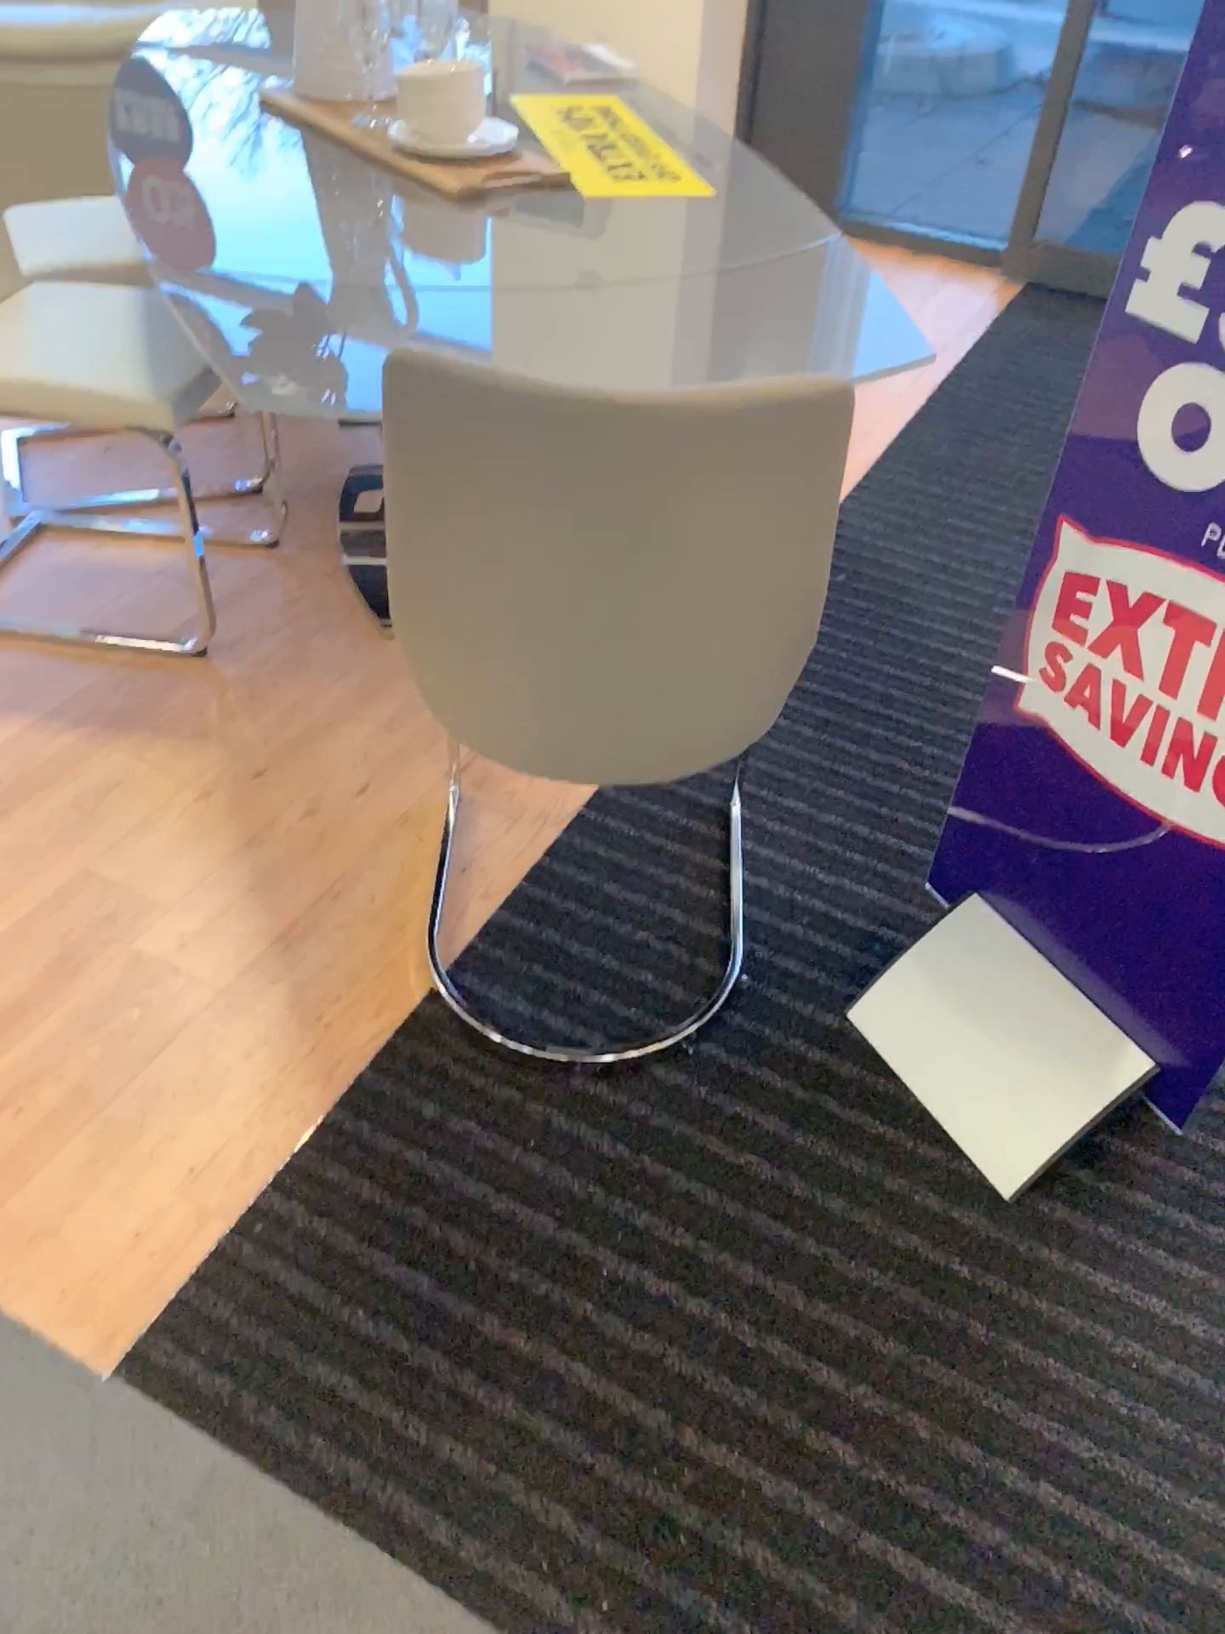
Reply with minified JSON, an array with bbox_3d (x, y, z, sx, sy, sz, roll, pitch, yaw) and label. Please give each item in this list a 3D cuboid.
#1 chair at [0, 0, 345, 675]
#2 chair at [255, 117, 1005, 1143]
[{"bbox_3d":[-0.823,-0.790,1.879,0.620,0.930,0.546,7,41,3],"label":"chair"},{"bbox_3d":[0.003,-0.201,1.430,0.530,0.901,0.687,4,41,0],"label":"chair"}]
